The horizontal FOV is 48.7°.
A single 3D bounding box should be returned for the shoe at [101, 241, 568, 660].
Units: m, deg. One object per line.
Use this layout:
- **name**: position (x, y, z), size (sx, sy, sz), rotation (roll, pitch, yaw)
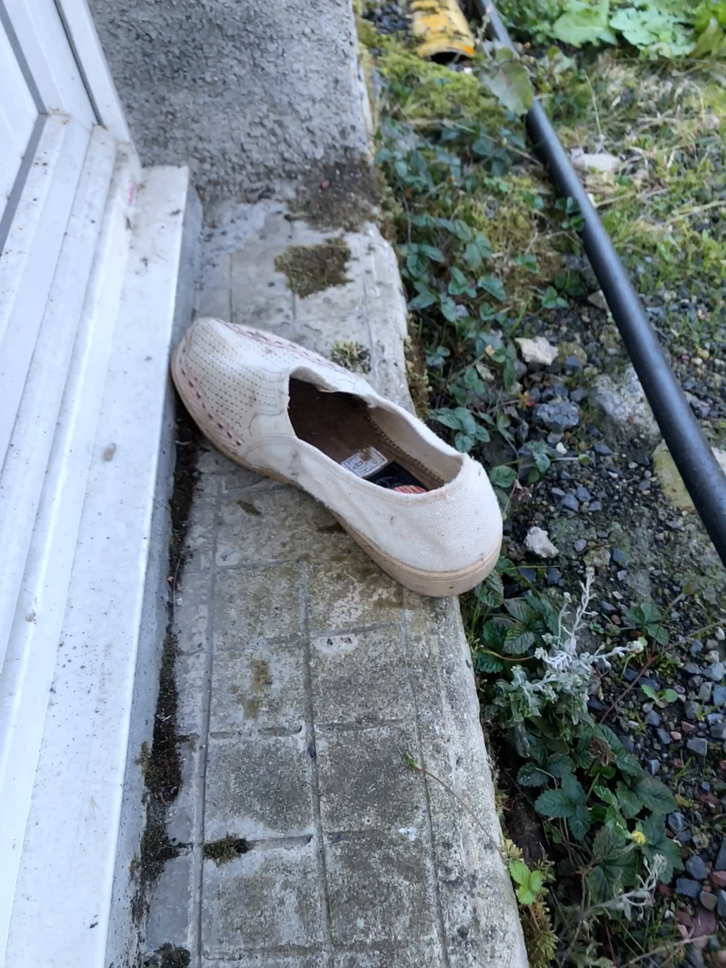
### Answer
- **shoe**: position (-0.027, -0.035, 0.481), size (0.100, 0.080, 0.280), rotation (-39, 58, -23)
